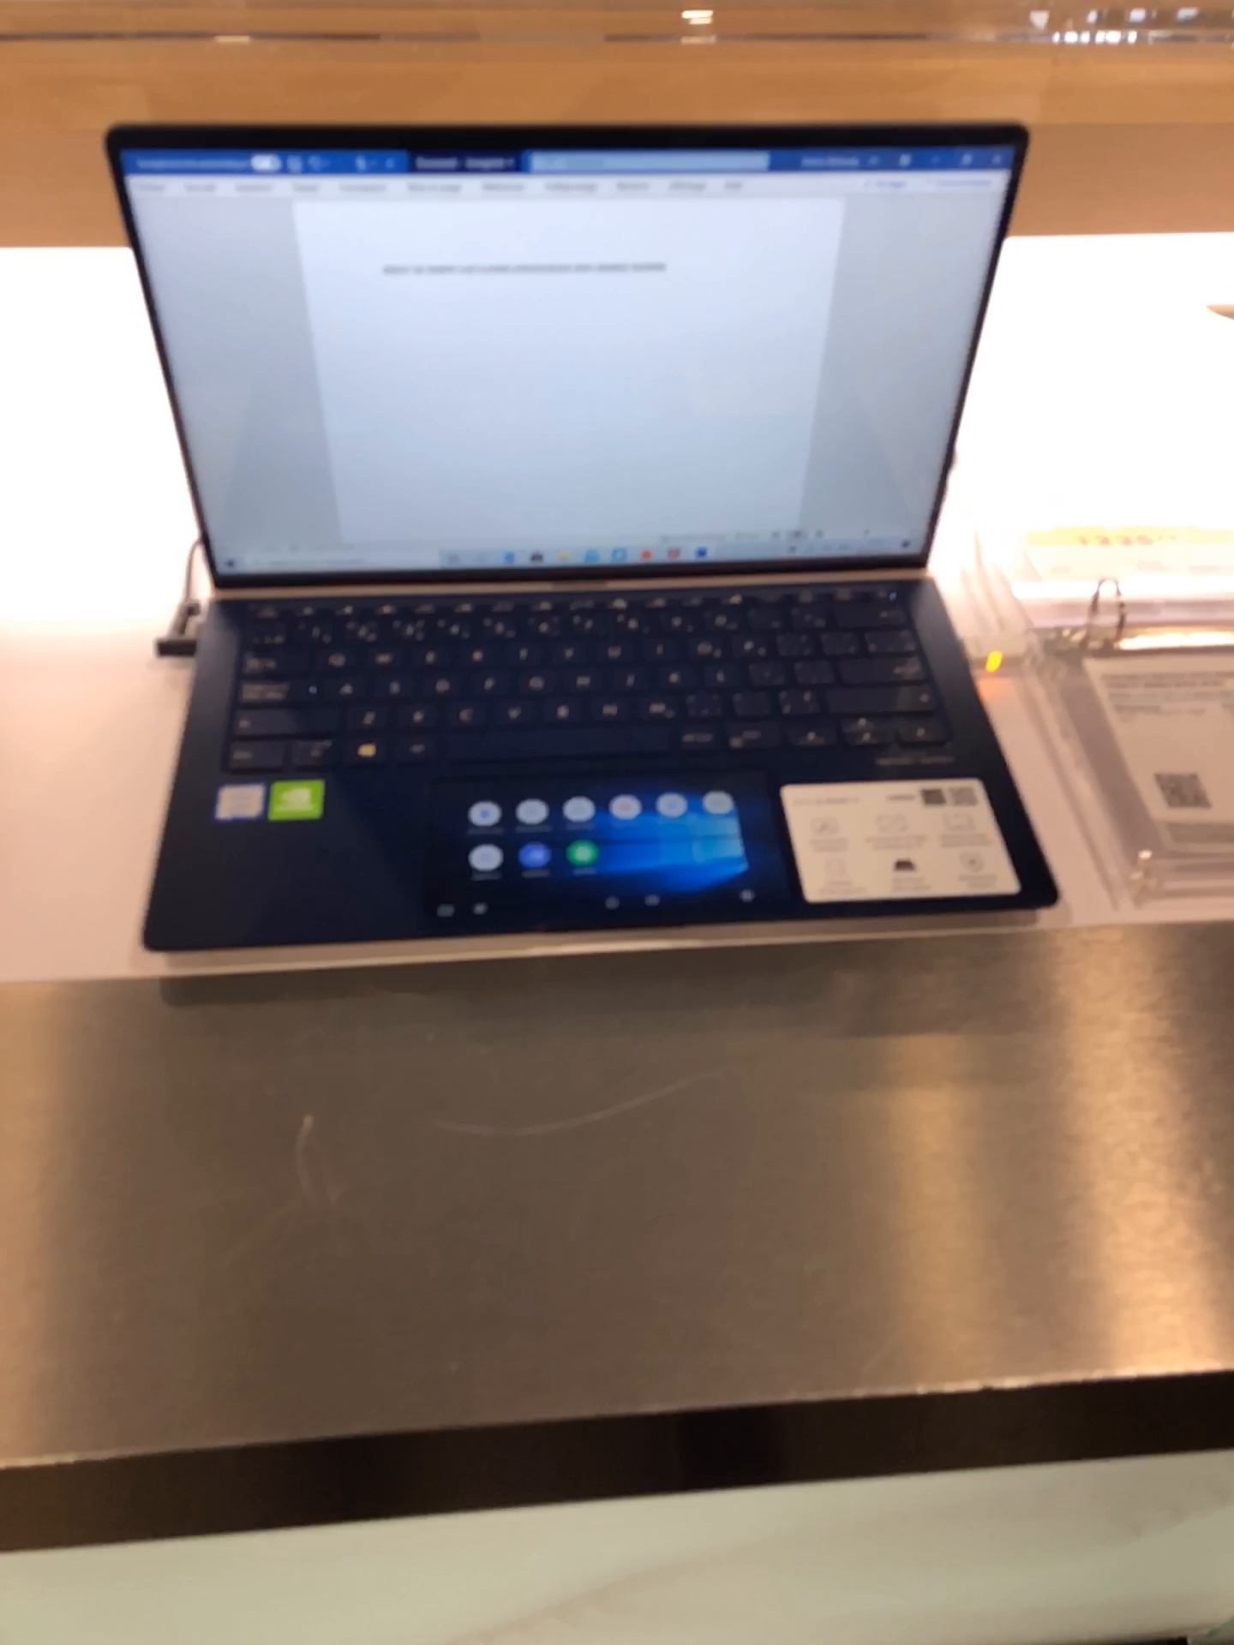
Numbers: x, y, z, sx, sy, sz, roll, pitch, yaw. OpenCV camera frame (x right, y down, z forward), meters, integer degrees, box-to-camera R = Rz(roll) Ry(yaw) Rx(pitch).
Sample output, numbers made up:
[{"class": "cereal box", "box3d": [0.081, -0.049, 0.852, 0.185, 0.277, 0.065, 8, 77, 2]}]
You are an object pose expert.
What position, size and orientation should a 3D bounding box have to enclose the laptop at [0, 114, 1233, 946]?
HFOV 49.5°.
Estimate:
[{"class": "laptop", "box3d": [-0.007, -0.103, 0.457, 0.317, 0.193, 0.200, -3, 47, -4]}]
